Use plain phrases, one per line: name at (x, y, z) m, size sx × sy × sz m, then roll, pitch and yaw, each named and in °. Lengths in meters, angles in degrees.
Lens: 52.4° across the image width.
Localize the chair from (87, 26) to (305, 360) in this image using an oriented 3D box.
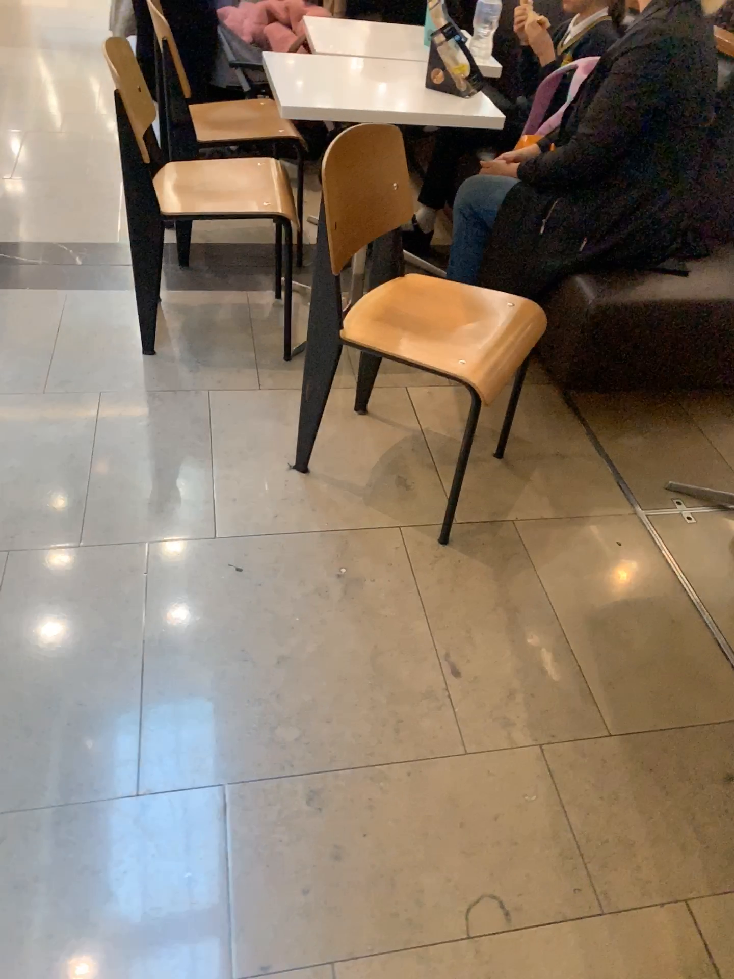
chair at (-0.464, -0.819, 2.143) m, size 0.495 × 0.767 × 0.431 m, roll -2°, pitch 43°, yaw -11°

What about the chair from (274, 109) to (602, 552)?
chair at (0.121, -0.351, 1.698) m, size 0.495 × 0.767 × 0.420 m, roll 24°, pitch 44°, yaw 17°
